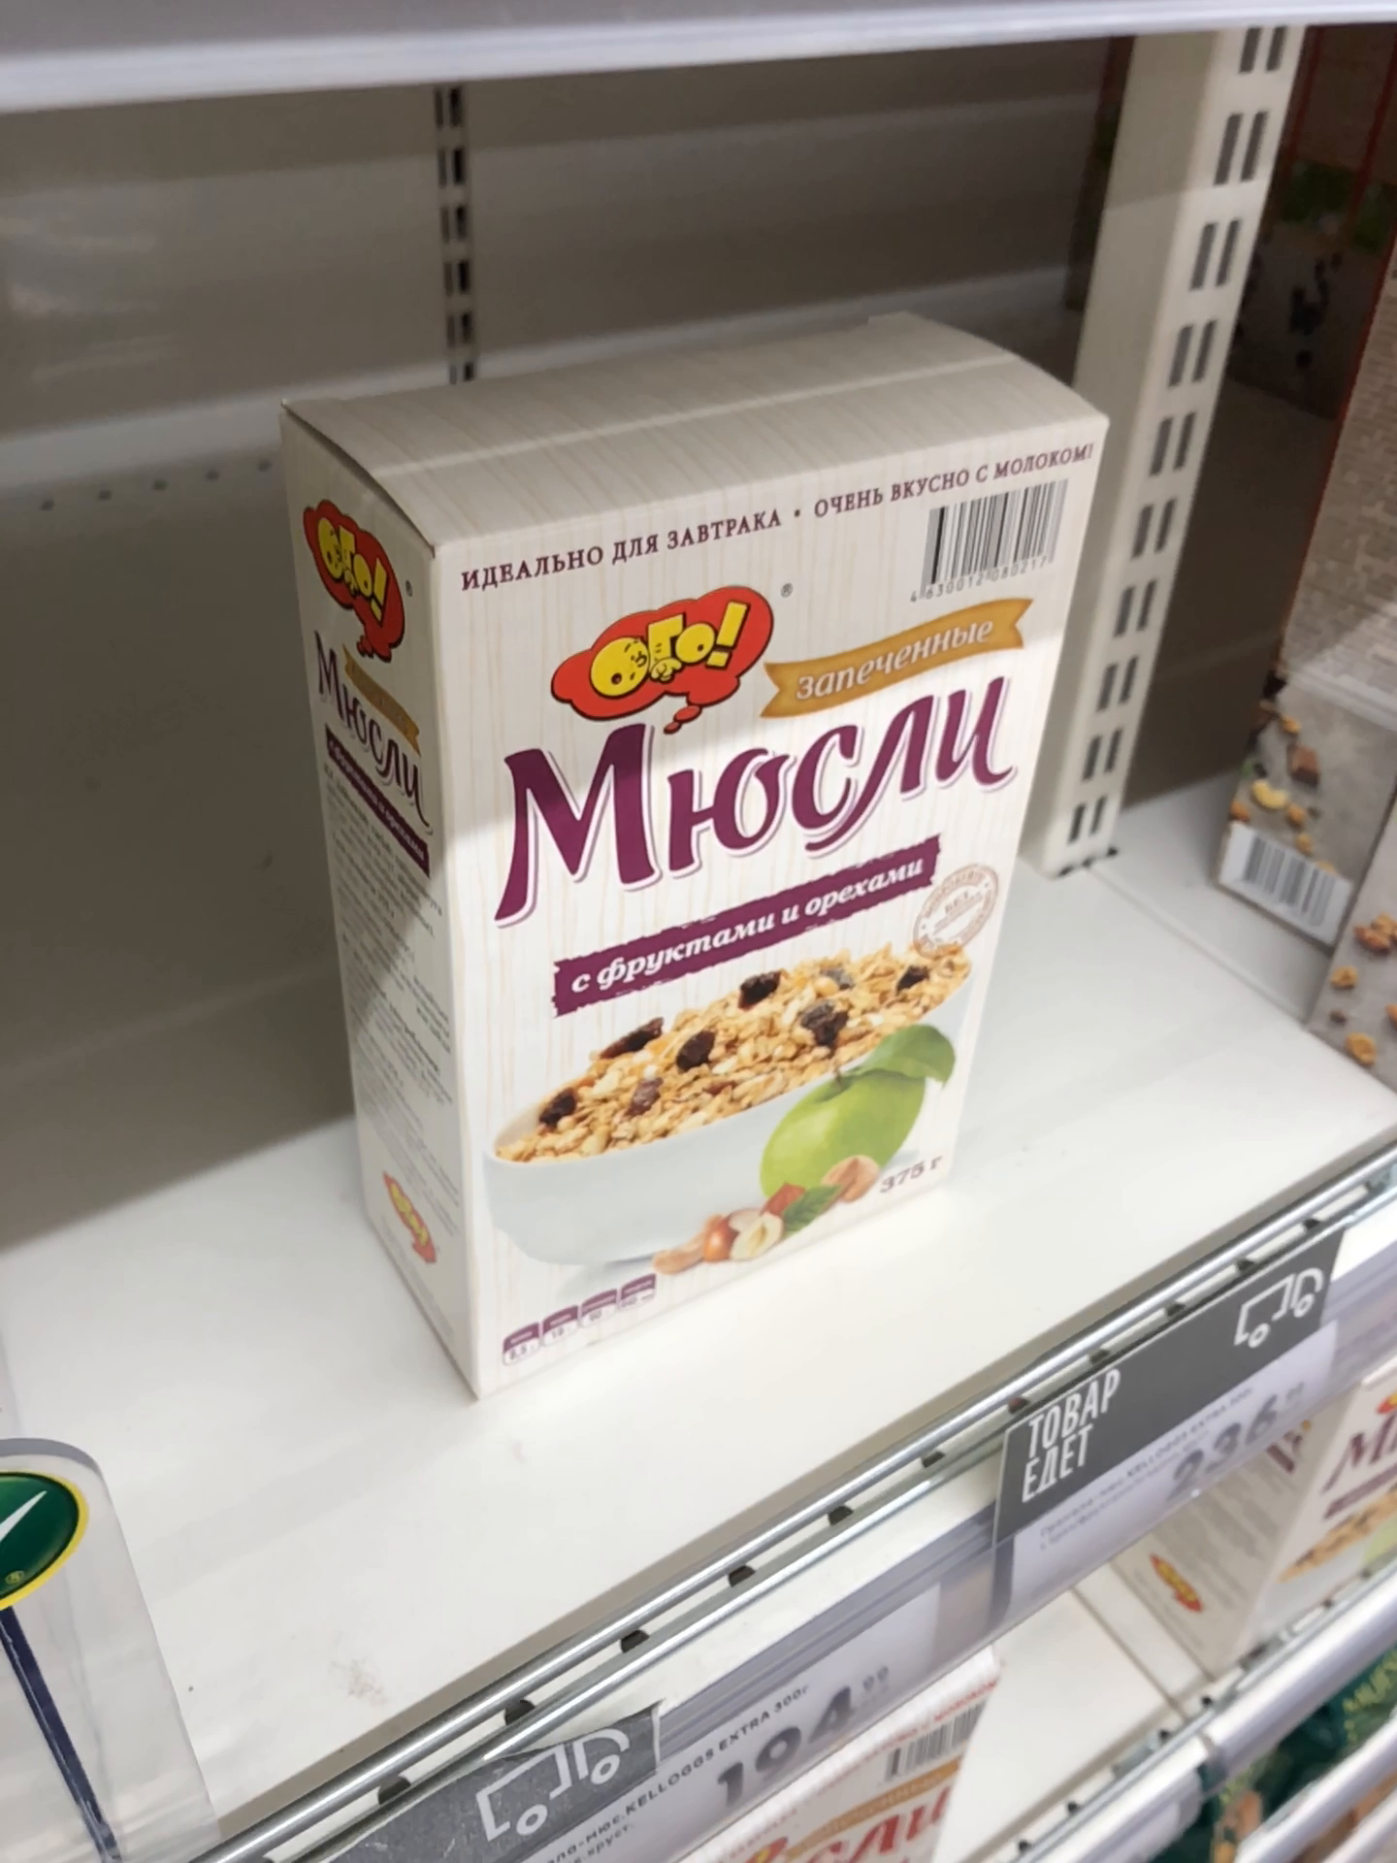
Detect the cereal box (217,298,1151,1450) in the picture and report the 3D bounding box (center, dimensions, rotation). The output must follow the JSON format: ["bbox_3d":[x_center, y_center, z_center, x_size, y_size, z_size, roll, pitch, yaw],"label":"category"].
[{"bbox_3d":[-0.005,-0.009,0.321,0.140,0.199,0.070,-19,43,-26],"label":"cereal box"}]
